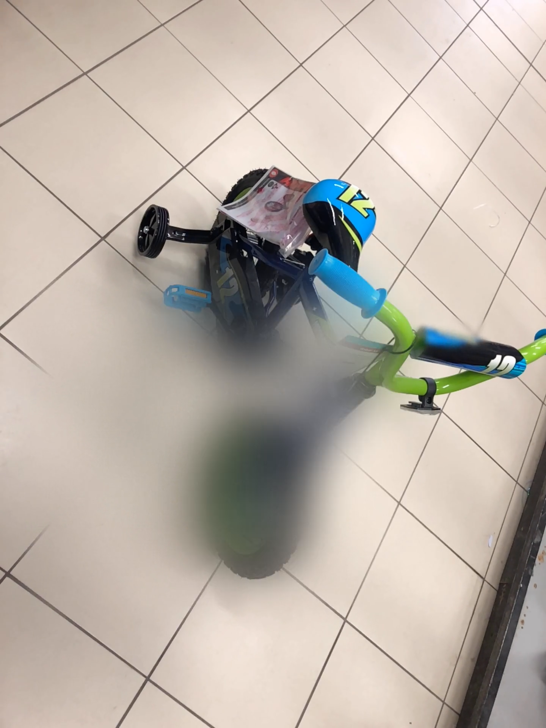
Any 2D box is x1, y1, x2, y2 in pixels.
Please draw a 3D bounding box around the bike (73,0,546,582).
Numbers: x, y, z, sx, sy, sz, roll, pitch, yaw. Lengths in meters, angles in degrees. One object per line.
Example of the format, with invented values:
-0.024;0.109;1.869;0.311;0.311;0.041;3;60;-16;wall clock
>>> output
0.058;-0.081;0.997;0.549;0.676;0.795;9;68;-27;bike
